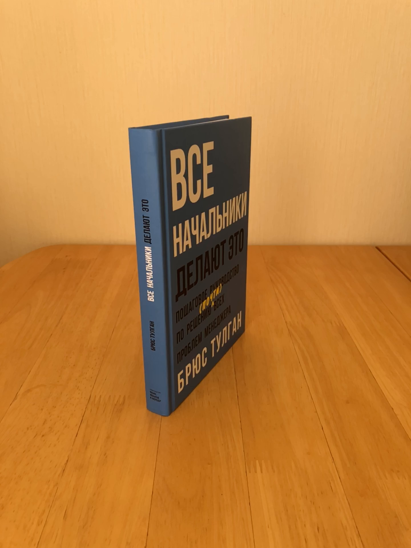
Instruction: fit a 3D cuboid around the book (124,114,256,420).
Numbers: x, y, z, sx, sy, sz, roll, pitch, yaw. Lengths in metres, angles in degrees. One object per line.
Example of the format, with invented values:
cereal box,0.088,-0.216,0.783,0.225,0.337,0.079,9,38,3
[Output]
book,-0.003,-0.015,0.369,0.025,0.207,0.150,11,24,26
